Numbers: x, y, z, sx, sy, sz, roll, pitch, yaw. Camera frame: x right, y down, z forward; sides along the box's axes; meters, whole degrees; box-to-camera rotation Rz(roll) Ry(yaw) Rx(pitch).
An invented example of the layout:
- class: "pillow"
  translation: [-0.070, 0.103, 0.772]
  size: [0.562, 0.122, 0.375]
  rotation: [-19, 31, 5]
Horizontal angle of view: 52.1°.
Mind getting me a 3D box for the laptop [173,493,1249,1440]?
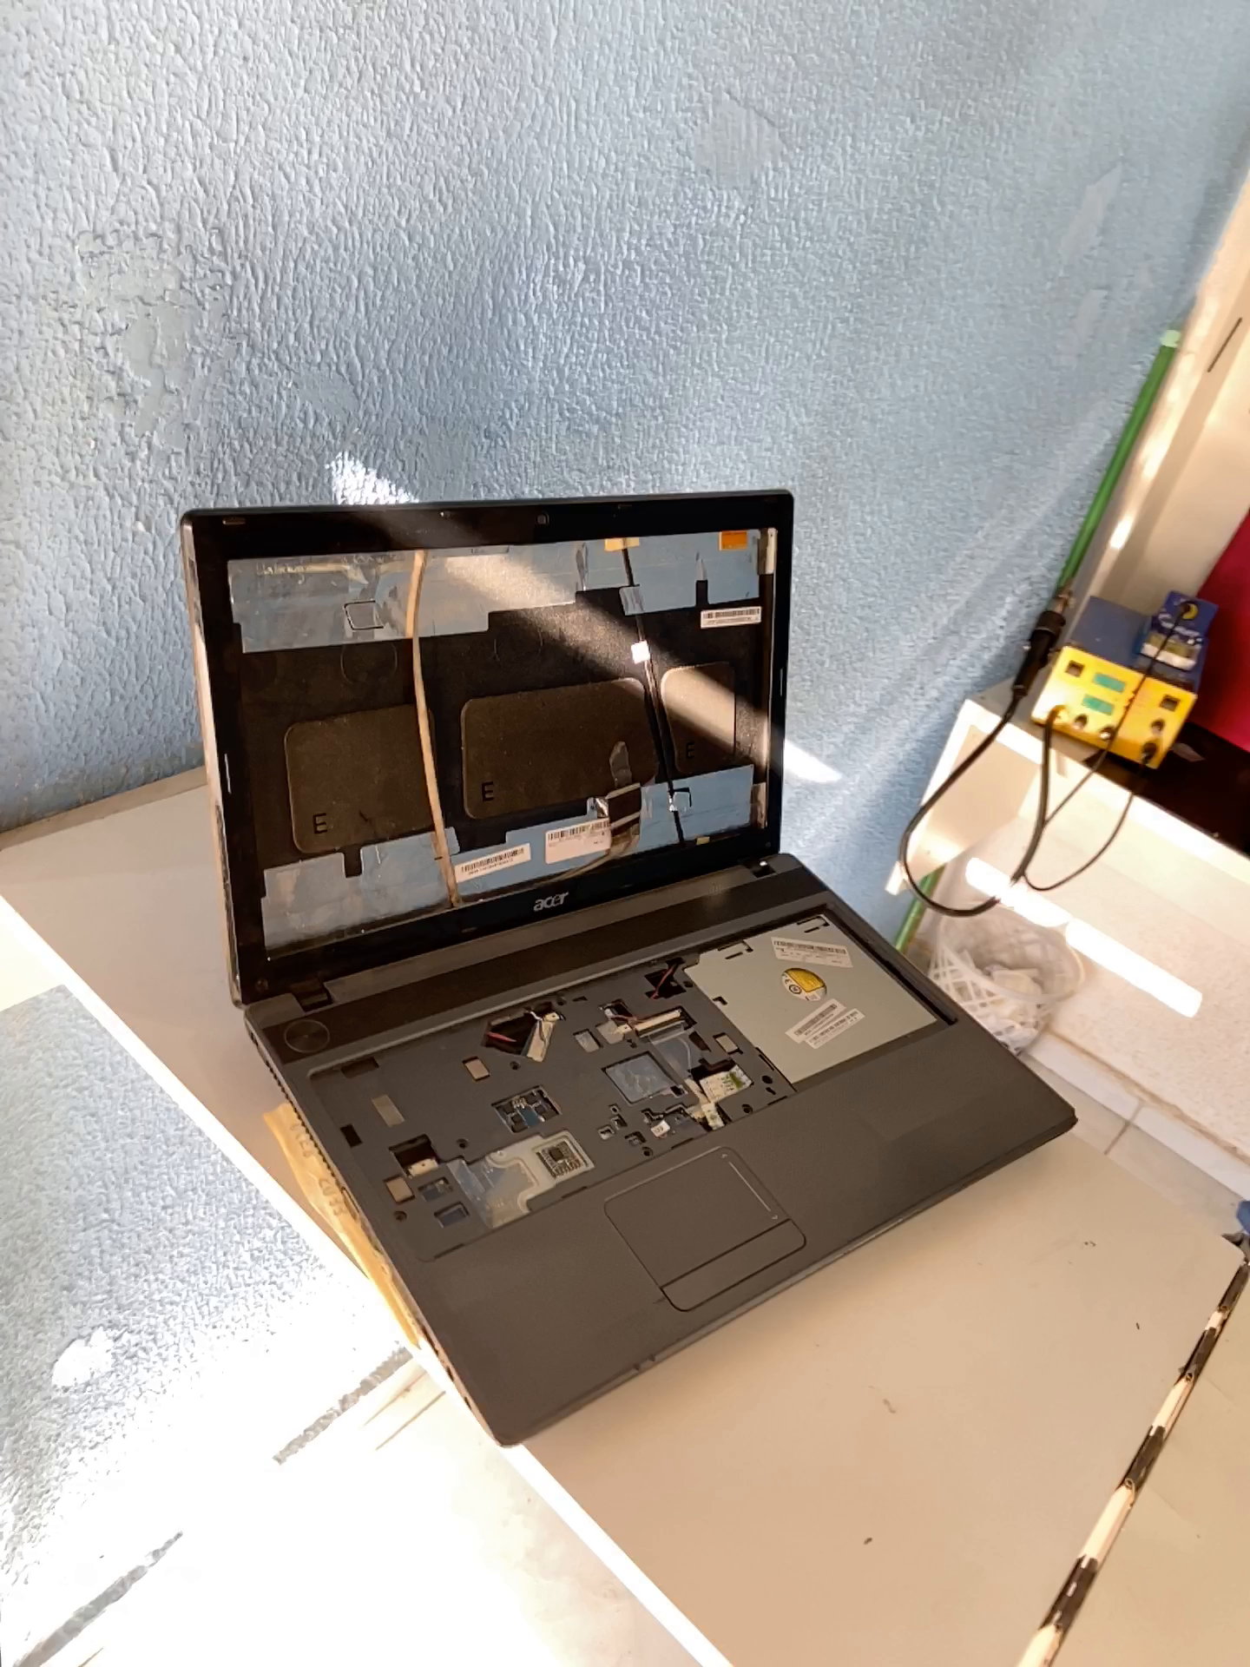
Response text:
- class: "laptop"
  translation: [0.028, 0.008, 0.641]
  size: [0.379, 0.210, 0.350]
  rotation: [-13, 43, -36]
